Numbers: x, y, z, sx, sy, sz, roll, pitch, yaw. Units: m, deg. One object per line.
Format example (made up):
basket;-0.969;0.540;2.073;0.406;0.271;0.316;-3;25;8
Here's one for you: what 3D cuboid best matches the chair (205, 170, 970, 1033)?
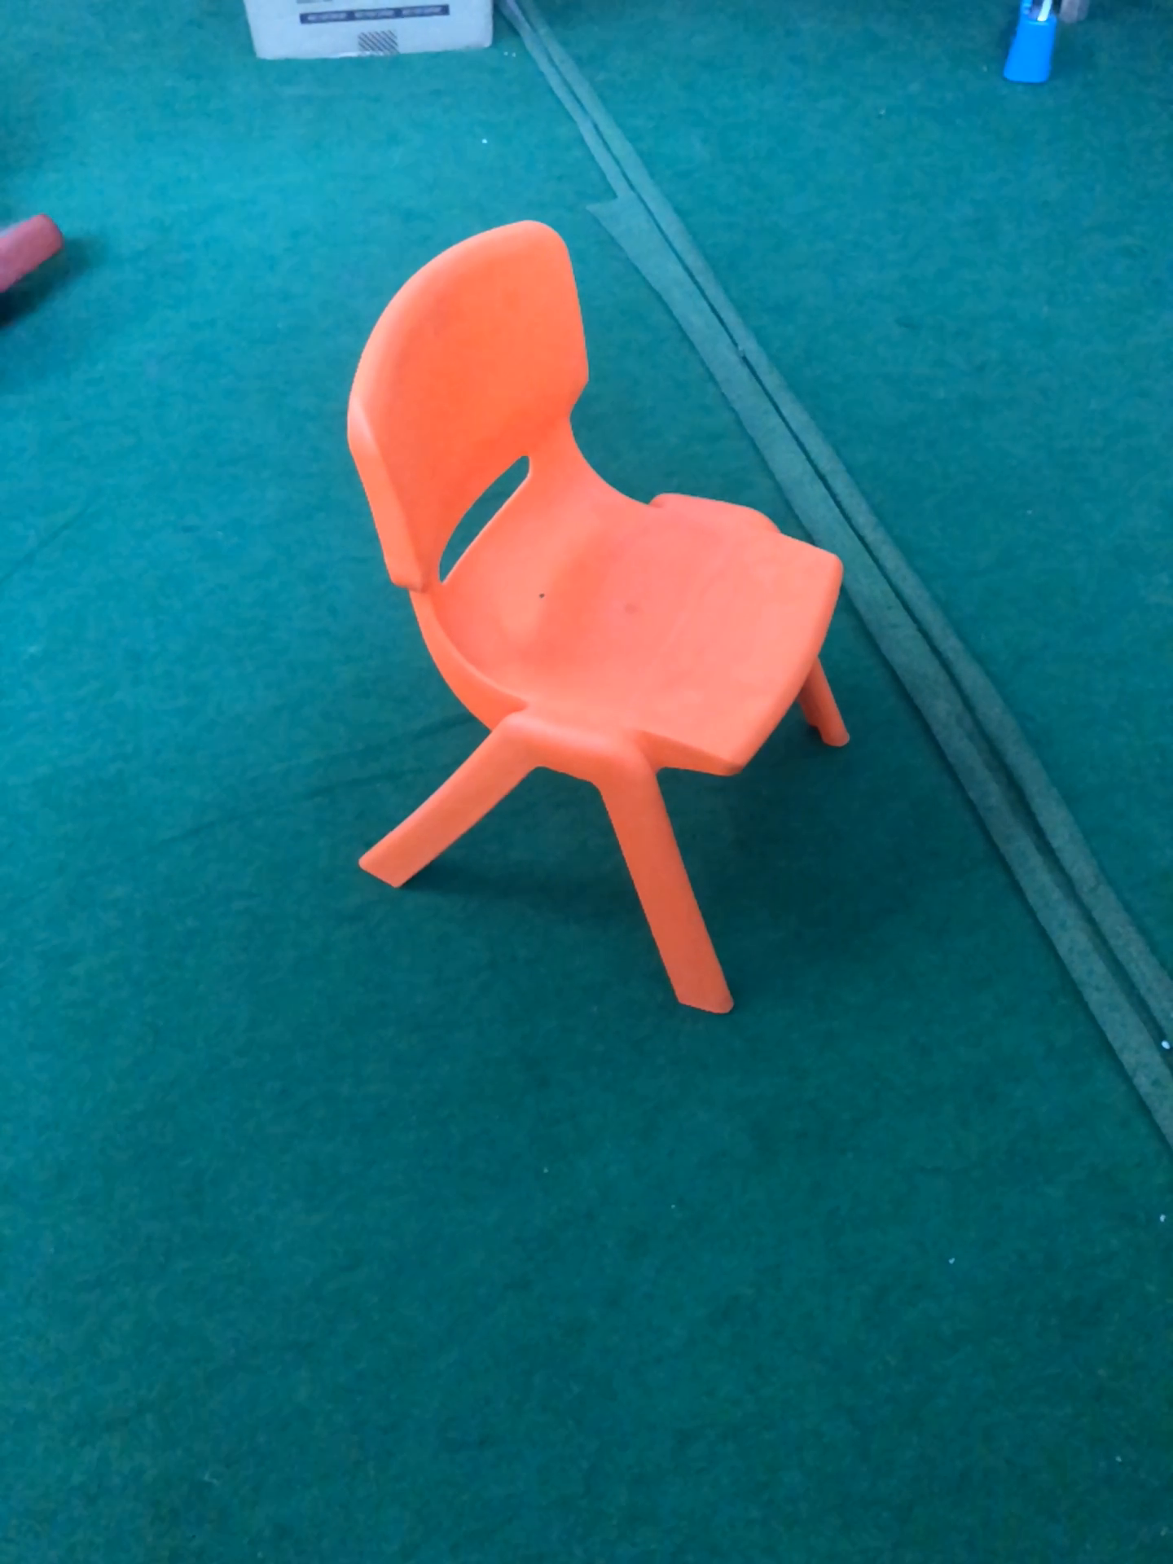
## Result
chair;0.018;-0.137;1.032;0.390;0.479;0.361;19;52;16
